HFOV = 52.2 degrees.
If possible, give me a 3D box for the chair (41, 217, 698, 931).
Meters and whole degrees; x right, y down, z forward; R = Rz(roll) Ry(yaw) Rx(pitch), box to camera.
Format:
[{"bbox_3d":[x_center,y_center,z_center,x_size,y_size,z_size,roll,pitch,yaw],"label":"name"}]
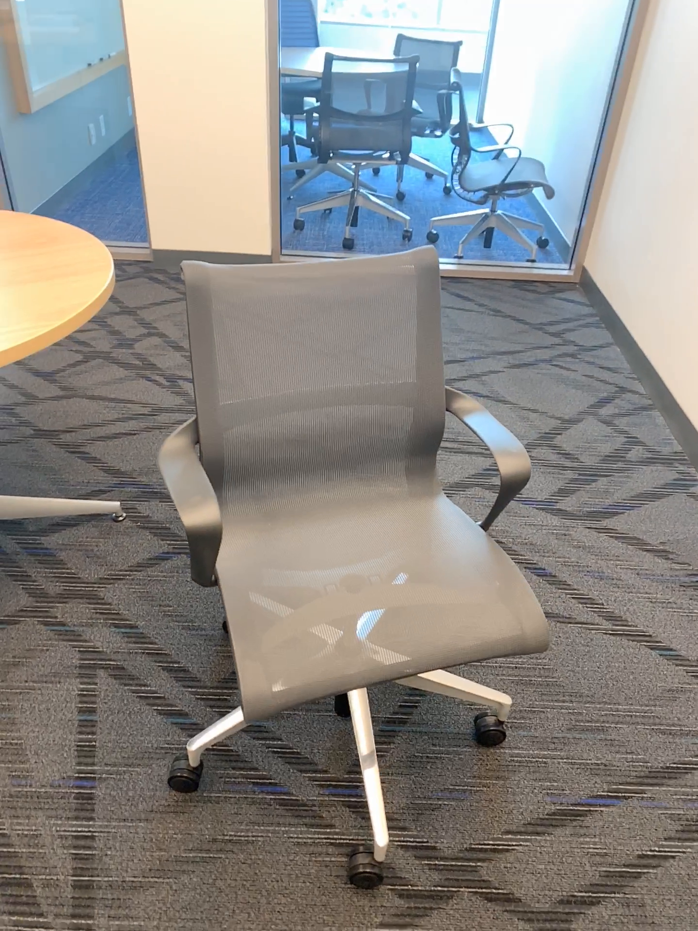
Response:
[{"bbox_3d":[-0.032,0.125,1.121,0.681,0.753,0.706,-11,38,-17],"label":"chair"}]
